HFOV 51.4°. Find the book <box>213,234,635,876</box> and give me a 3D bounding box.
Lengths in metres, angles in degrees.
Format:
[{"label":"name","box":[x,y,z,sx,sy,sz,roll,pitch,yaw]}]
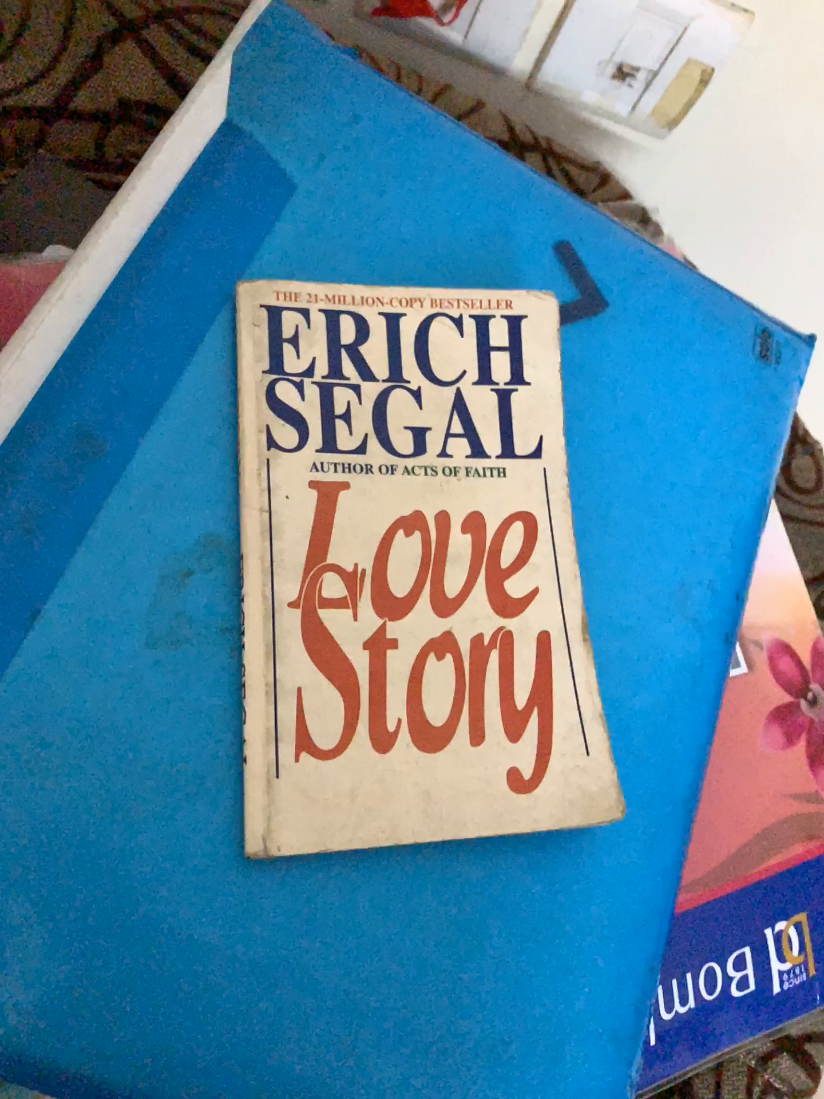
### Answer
[{"label":"book","box":[-0.001,-0.005,0.256,0.110,0.020,0.180,0,73,-18]}]
